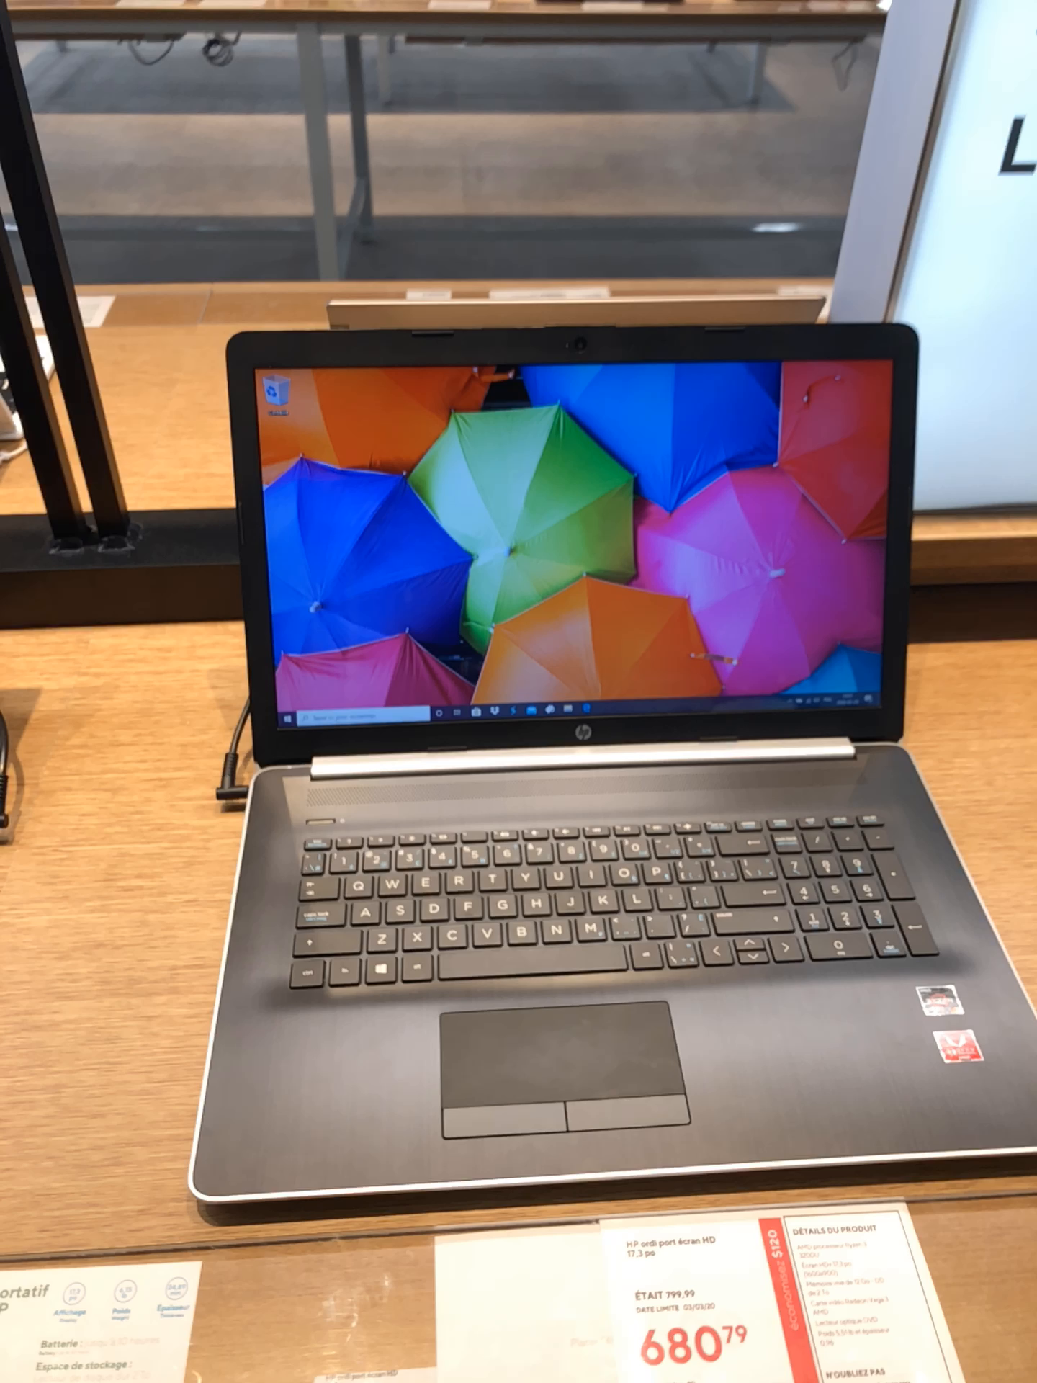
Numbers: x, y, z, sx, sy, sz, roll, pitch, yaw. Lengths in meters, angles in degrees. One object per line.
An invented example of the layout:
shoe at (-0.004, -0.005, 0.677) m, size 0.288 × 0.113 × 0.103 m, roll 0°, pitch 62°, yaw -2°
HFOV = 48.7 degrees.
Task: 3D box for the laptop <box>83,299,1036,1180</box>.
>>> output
laptop at (0.042, -0.009, 0.601) m, size 0.399 × 0.217 × 0.399 m, roll -2°, pitch 43°, yaw -4°
